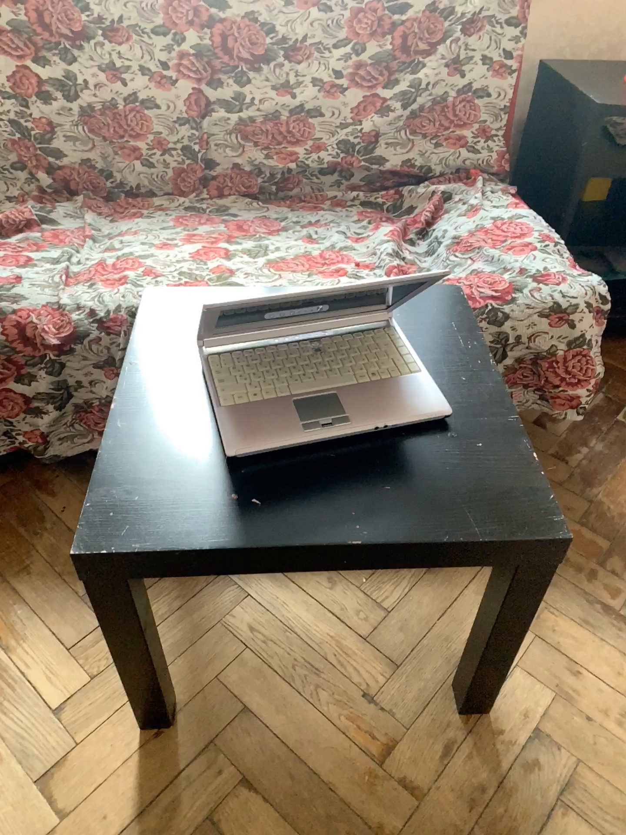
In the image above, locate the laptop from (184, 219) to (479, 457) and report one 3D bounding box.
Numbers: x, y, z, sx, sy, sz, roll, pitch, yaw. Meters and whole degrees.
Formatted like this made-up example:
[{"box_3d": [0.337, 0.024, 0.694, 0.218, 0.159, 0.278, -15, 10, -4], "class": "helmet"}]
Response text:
[{"box_3d": [0.010, -0.115, 0.826, 0.305, 0.156, 0.227, -11, 44, -13], "class": "laptop"}]
